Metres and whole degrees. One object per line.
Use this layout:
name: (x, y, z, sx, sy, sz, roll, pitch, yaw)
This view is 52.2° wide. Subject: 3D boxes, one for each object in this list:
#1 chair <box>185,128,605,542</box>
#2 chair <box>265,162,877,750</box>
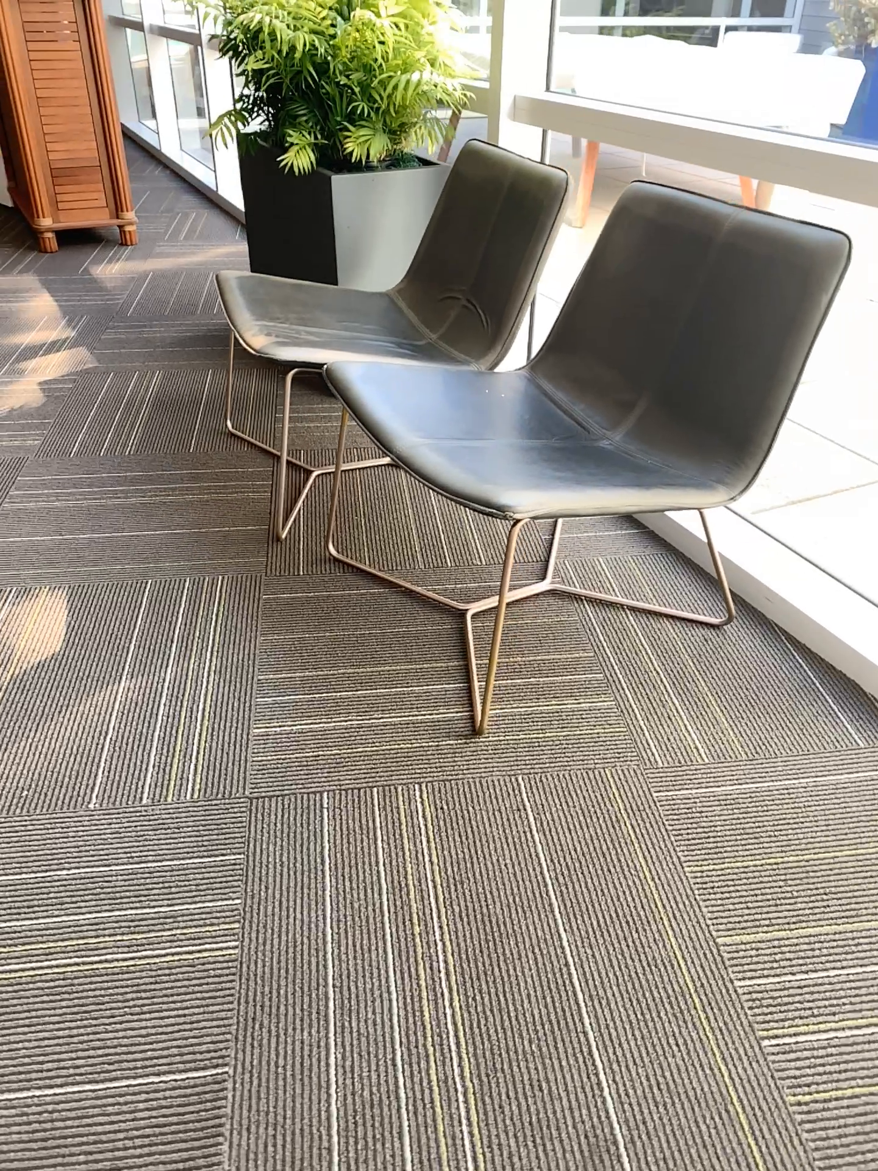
chair: (-0.138, -0.620, 2.056, 0.690, 0.676, 0.704, -11, 35, -18)
chair: (0.177, -0.297, 1.566, 0.690, 0.676, 0.704, -16, 37, -25)
